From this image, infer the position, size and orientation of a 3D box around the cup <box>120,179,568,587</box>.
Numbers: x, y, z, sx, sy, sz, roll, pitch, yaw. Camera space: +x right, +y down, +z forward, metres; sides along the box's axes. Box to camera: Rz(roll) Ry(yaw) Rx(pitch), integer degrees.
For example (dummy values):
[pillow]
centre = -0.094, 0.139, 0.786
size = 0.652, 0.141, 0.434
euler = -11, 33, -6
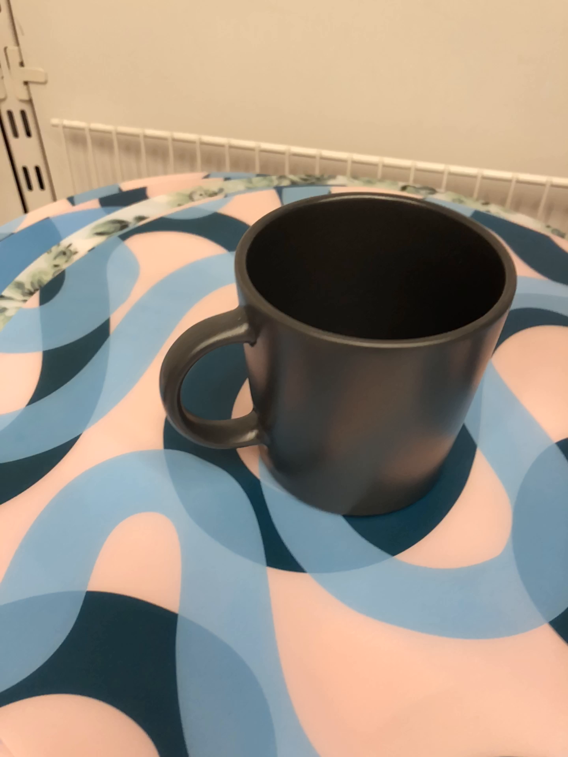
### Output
[cup]
centre = 0.013, -0.004, 0.225
size = 0.120, 0.090, 0.090
euler = -9, 42, -11
